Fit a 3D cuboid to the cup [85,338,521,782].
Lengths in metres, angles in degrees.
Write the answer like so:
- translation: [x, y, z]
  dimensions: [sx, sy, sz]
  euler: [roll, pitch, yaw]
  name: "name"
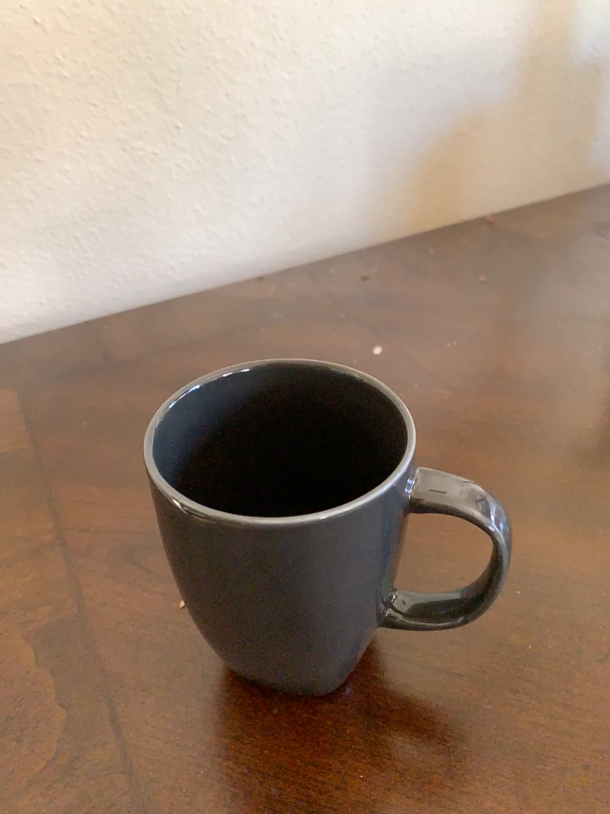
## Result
- translation: [0.010, 0.044, 0.213]
  dimensions: [0.107, 0.096, 0.089]
  euler: [5, 36, 14]
  name: "cup"
